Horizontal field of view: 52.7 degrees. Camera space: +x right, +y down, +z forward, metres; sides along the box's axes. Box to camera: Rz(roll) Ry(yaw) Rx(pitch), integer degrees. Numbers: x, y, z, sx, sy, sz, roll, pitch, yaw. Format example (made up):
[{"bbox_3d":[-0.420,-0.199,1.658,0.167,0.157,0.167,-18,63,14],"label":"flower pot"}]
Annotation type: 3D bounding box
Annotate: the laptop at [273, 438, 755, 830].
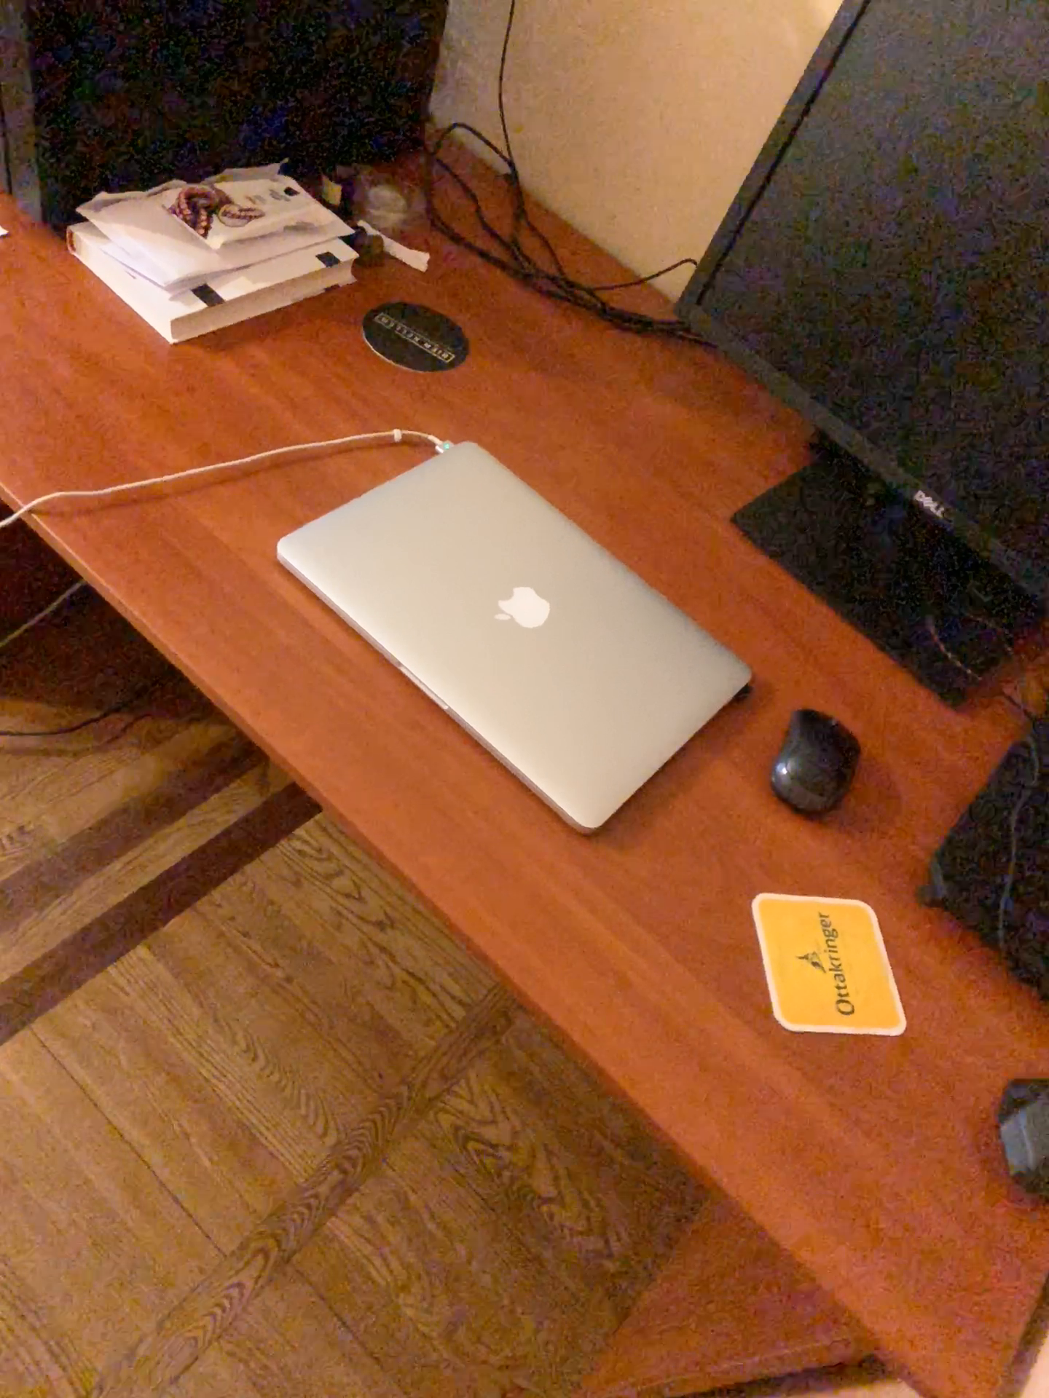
[{"bbox_3d":[-0.001,-0.066,0.789,0.306,0.001,0.214,42,53,13],"label":"laptop"}]
